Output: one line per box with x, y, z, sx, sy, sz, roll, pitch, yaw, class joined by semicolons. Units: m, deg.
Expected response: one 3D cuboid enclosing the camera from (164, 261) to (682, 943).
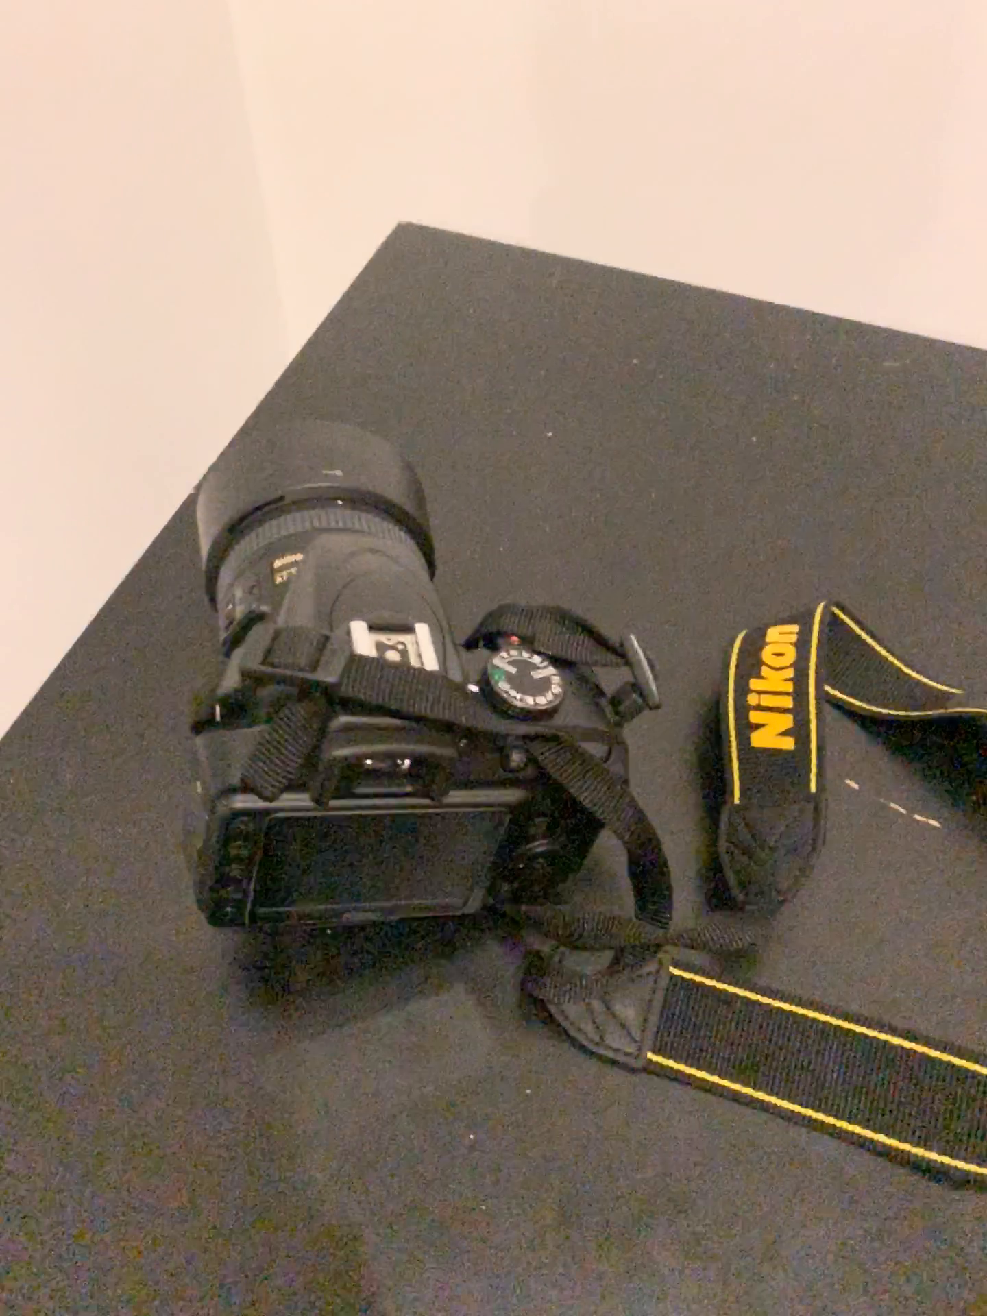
-0.044;-0.030;0.344;0.116;0.089;0.221;2;45;-22;camera
